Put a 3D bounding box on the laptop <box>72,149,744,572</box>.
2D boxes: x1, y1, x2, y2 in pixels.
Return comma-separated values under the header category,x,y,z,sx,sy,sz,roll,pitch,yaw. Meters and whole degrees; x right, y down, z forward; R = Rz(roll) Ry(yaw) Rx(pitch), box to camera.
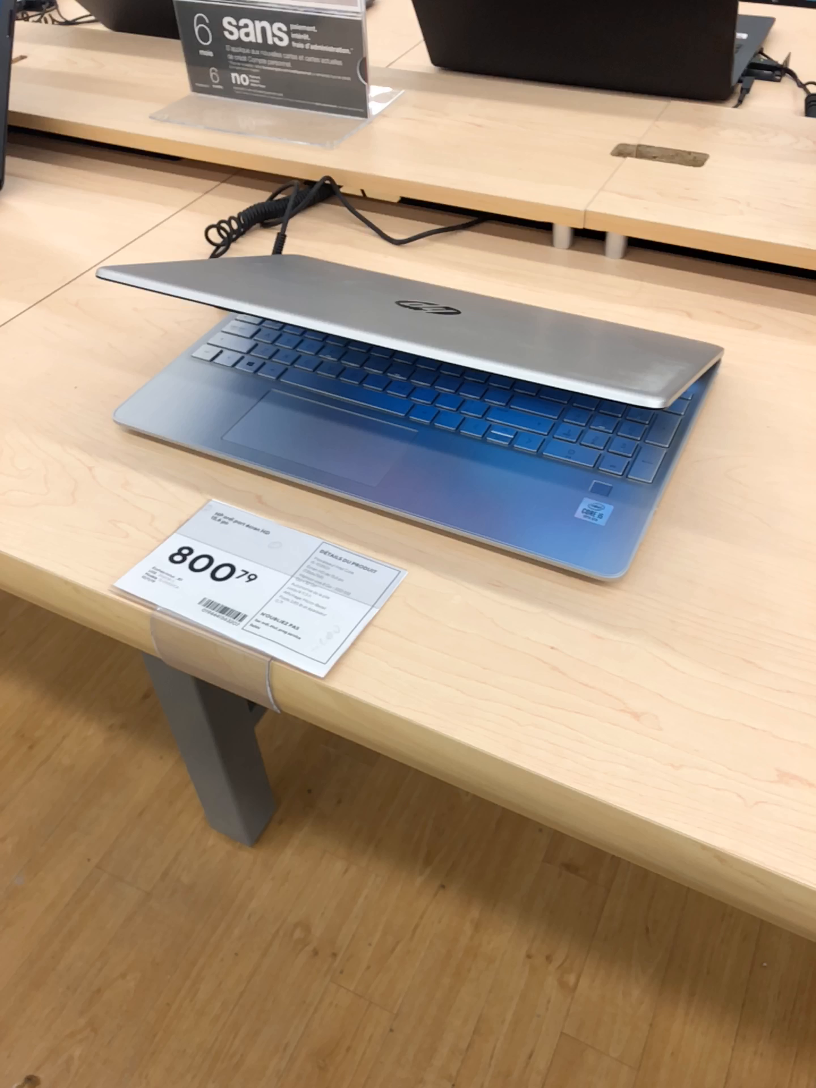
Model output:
category,x,y,z,sx,sy,sz,roll,pitch,yaw
laptop,0.006,-0.139,0.575,0.341,0.086,0.224,18,50,20
